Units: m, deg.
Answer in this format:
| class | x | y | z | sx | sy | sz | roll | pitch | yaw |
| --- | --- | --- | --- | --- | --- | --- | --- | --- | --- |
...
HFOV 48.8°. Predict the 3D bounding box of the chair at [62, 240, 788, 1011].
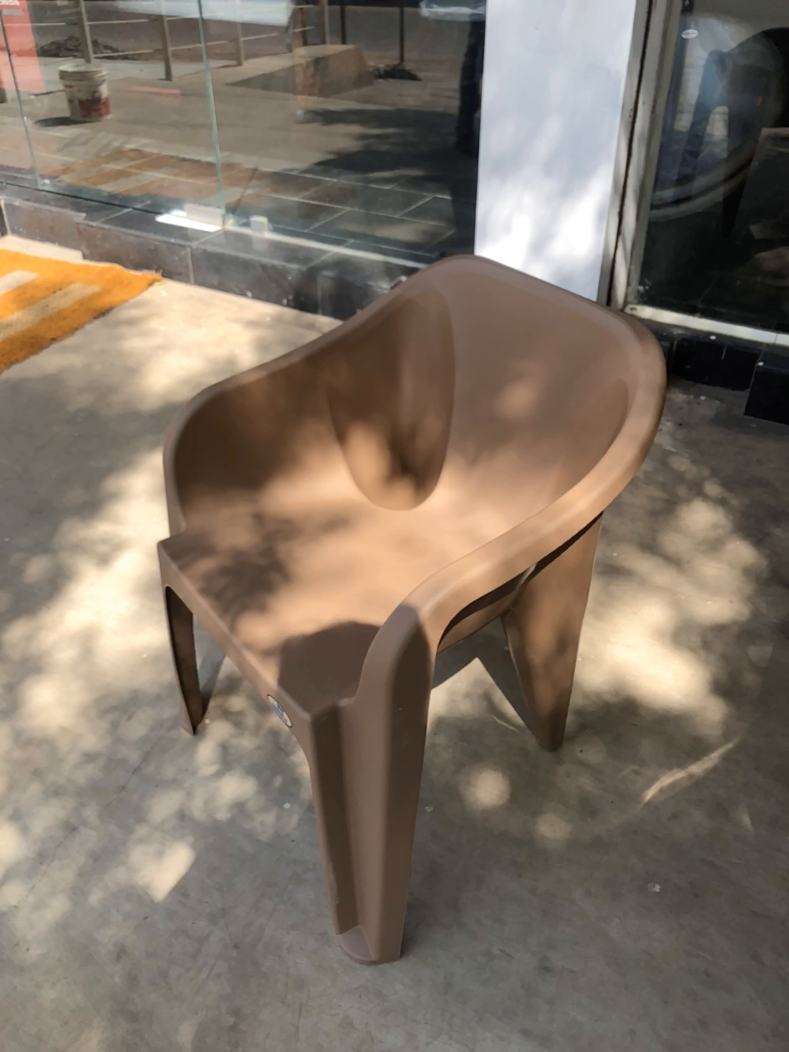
| class | x | y | z | sx | sy | sz | roll | pitch | yaw |
| --- | --- | --- | --- | --- | --- | --- | --- | --- | --- |
| chair | 0.058 | 0.058 | 1.265 | 0.723 | 0.637 | 0.641 | -24 | 42 | -29 |
